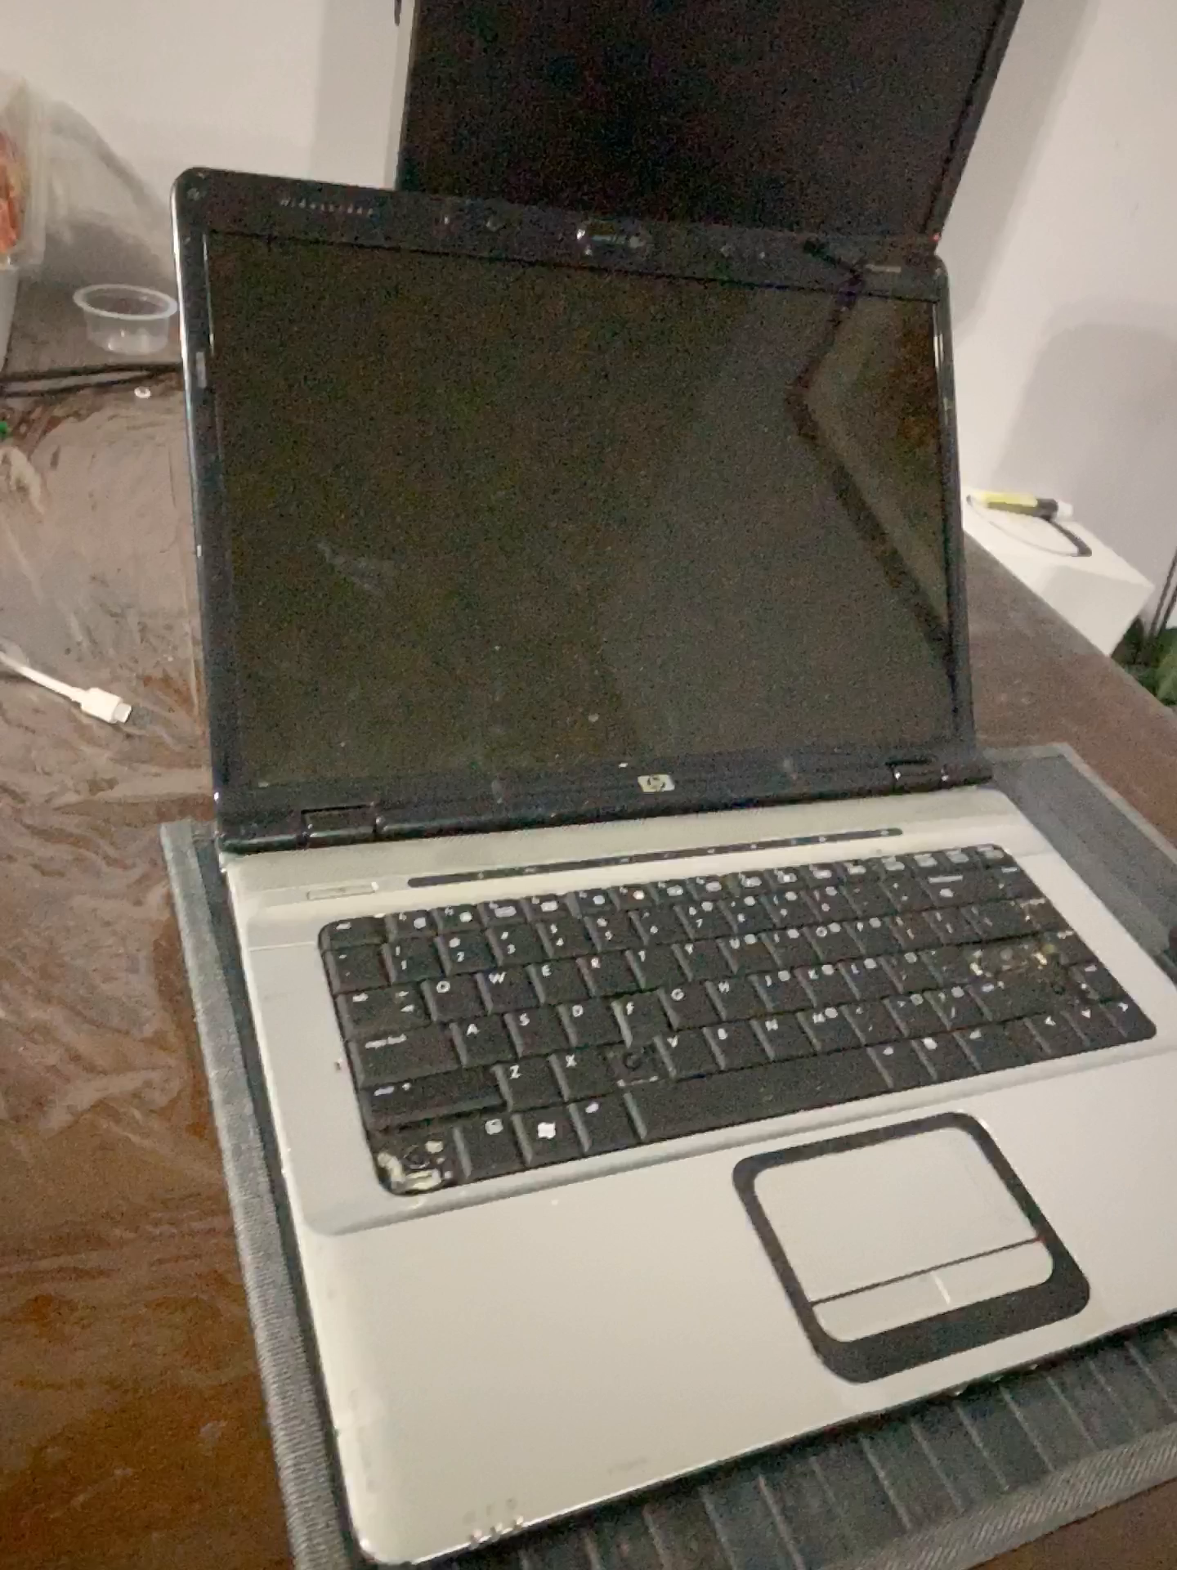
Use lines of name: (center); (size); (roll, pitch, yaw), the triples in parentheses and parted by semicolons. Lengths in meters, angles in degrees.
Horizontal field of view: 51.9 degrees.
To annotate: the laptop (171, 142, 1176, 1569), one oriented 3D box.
laptop: (0.059, -0.043, 0.422); (0.349, 0.186, 0.404); (-5, 41, -23)
